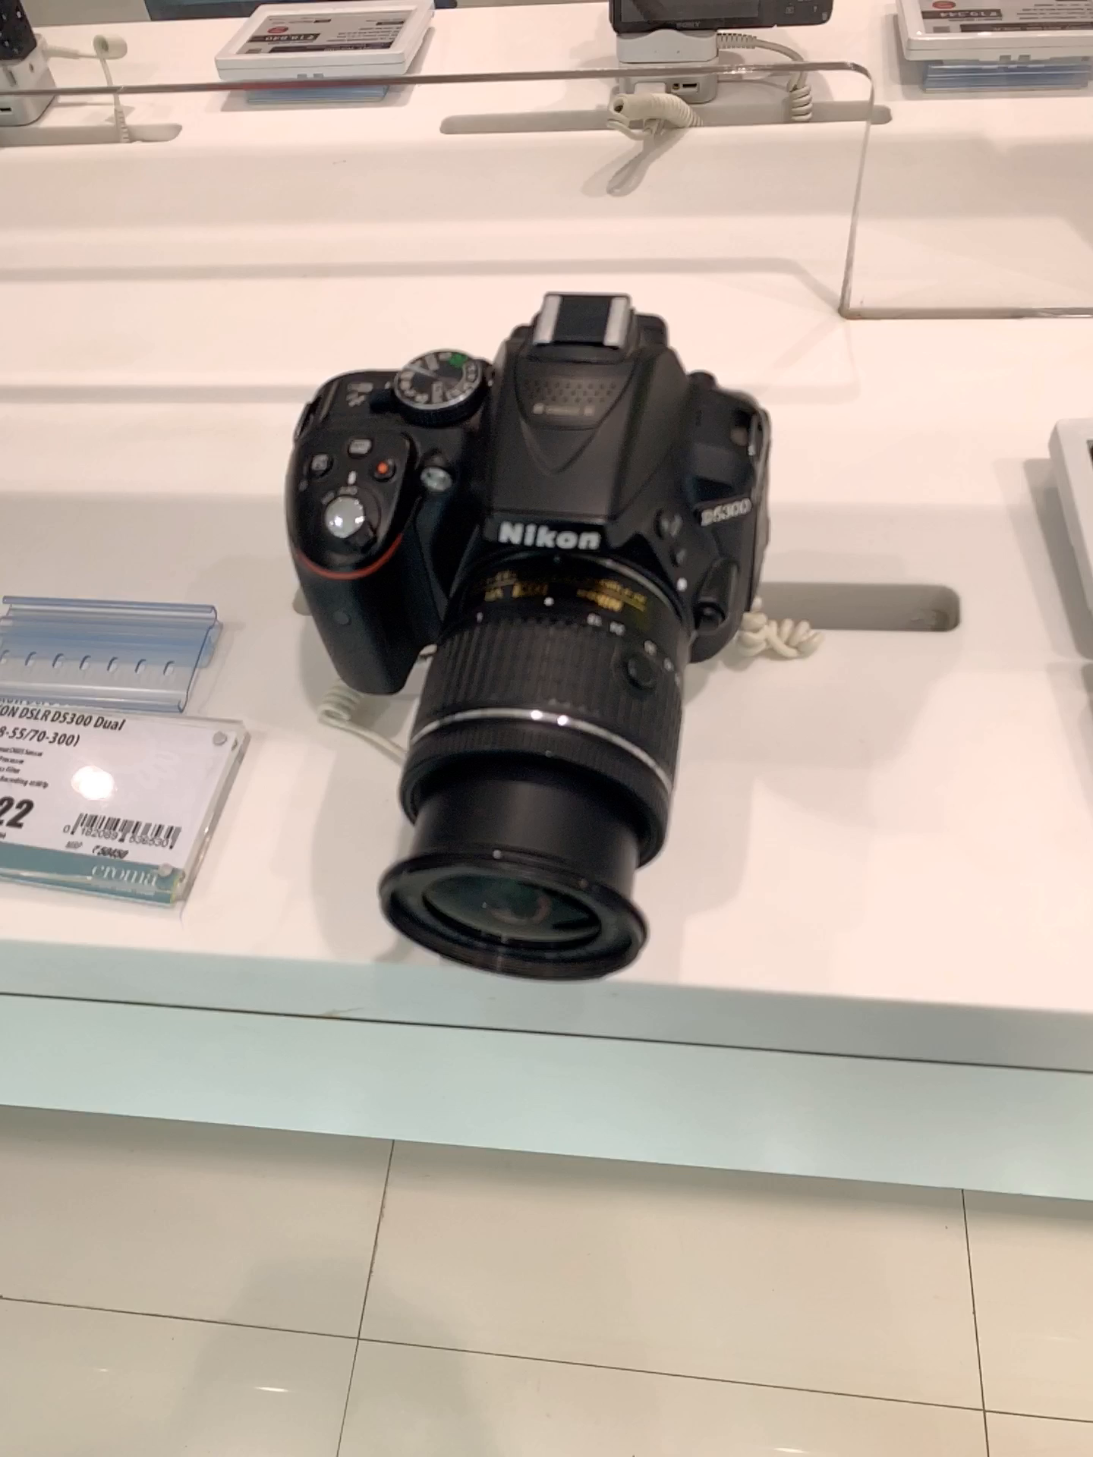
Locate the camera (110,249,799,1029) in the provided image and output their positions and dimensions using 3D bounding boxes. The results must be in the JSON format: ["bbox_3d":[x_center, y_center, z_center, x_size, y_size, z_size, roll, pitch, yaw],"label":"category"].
[{"bbox_3d":[-0.004,-0.023,0.267,0.110,0.110,0.140,6,55,10],"label":"camera"}]
